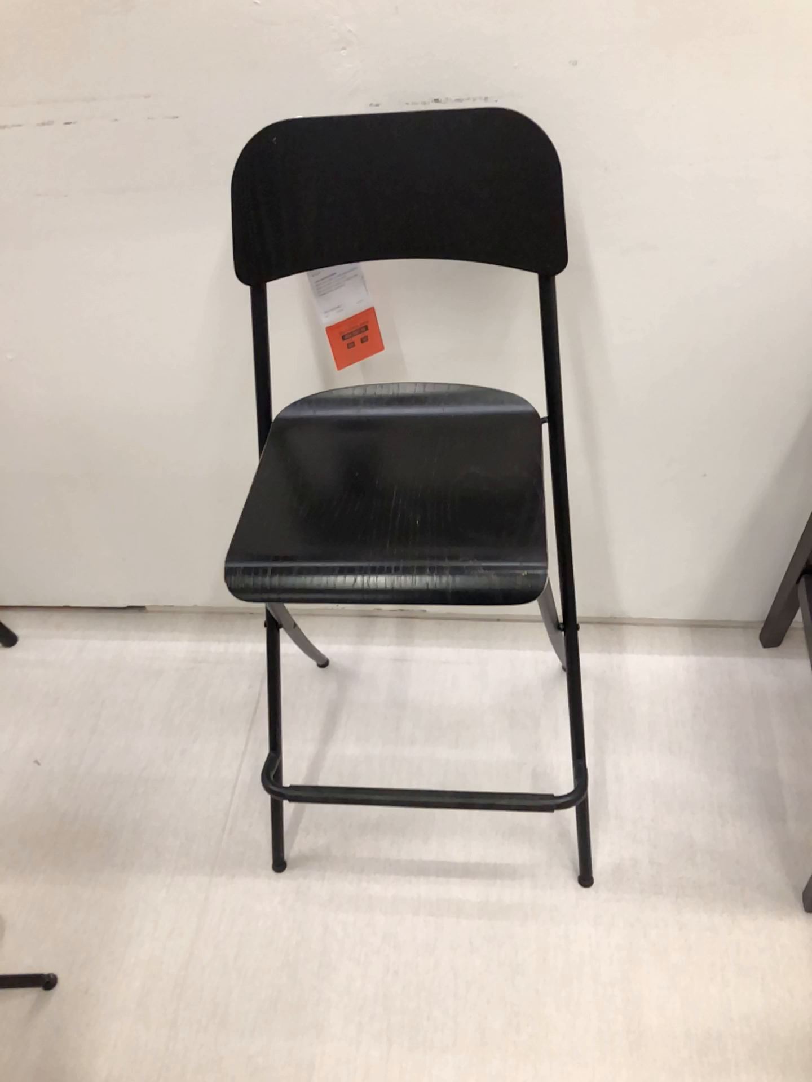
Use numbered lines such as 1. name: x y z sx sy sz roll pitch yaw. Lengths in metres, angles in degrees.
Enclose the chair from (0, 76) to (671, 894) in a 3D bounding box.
1. chair: -0.006 0.005 1.094 0.490 0.884 0.473 0 46 8
